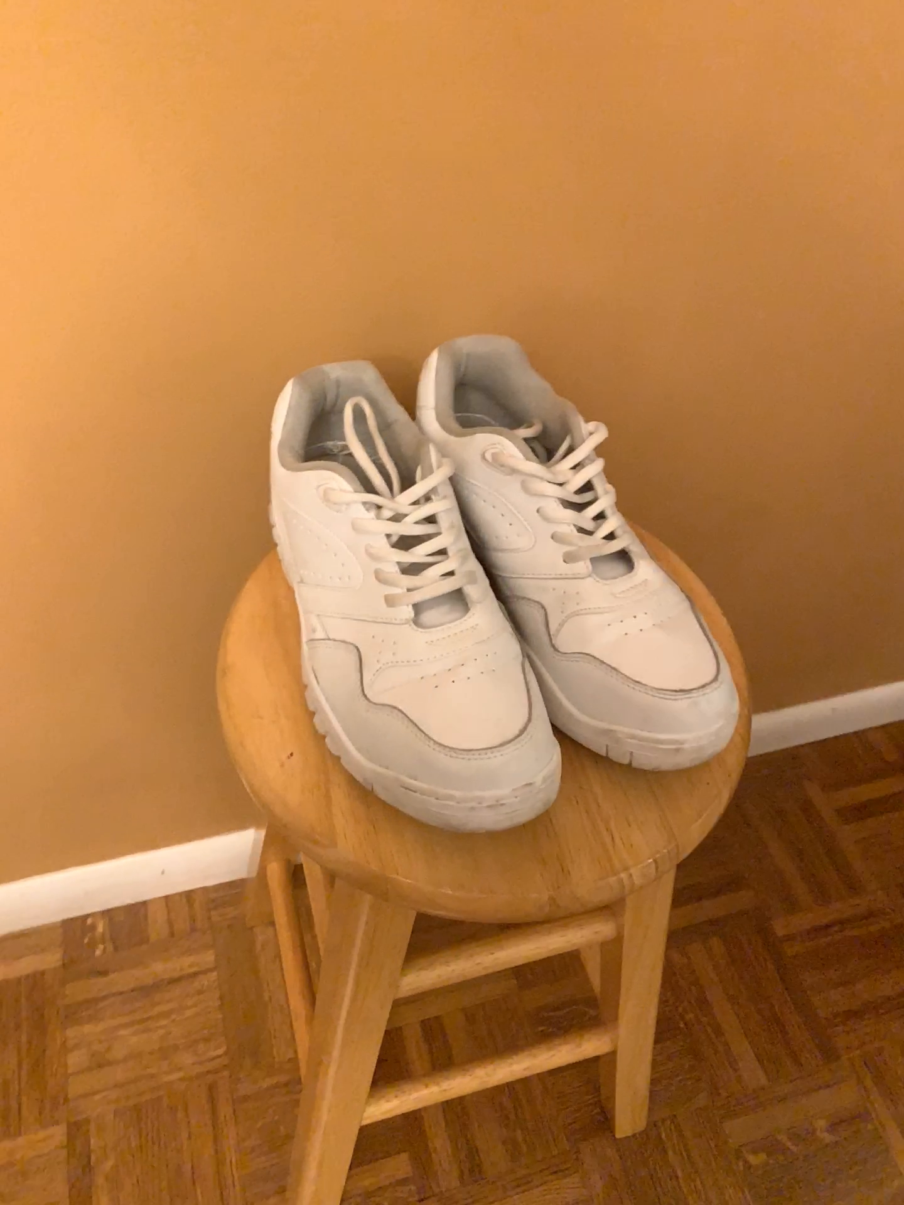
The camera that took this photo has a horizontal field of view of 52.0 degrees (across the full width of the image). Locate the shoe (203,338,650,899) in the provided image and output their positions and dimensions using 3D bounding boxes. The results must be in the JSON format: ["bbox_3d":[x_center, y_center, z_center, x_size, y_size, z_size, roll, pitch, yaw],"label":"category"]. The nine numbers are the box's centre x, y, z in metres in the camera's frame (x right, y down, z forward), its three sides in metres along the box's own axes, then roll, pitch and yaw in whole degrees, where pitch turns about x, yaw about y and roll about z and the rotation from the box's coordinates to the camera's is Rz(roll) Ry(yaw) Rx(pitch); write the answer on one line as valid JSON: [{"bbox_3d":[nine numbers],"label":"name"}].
[{"bbox_3d":[-0.032,-0.010,0.489,0.130,0.110,0.271,-14,50,-17],"label":"shoe"}]

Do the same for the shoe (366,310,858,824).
[{"bbox_3d":[0.065,-0.036,0.520,0.120,0.110,0.271,-20,52,-22],"label":"shoe"}]
